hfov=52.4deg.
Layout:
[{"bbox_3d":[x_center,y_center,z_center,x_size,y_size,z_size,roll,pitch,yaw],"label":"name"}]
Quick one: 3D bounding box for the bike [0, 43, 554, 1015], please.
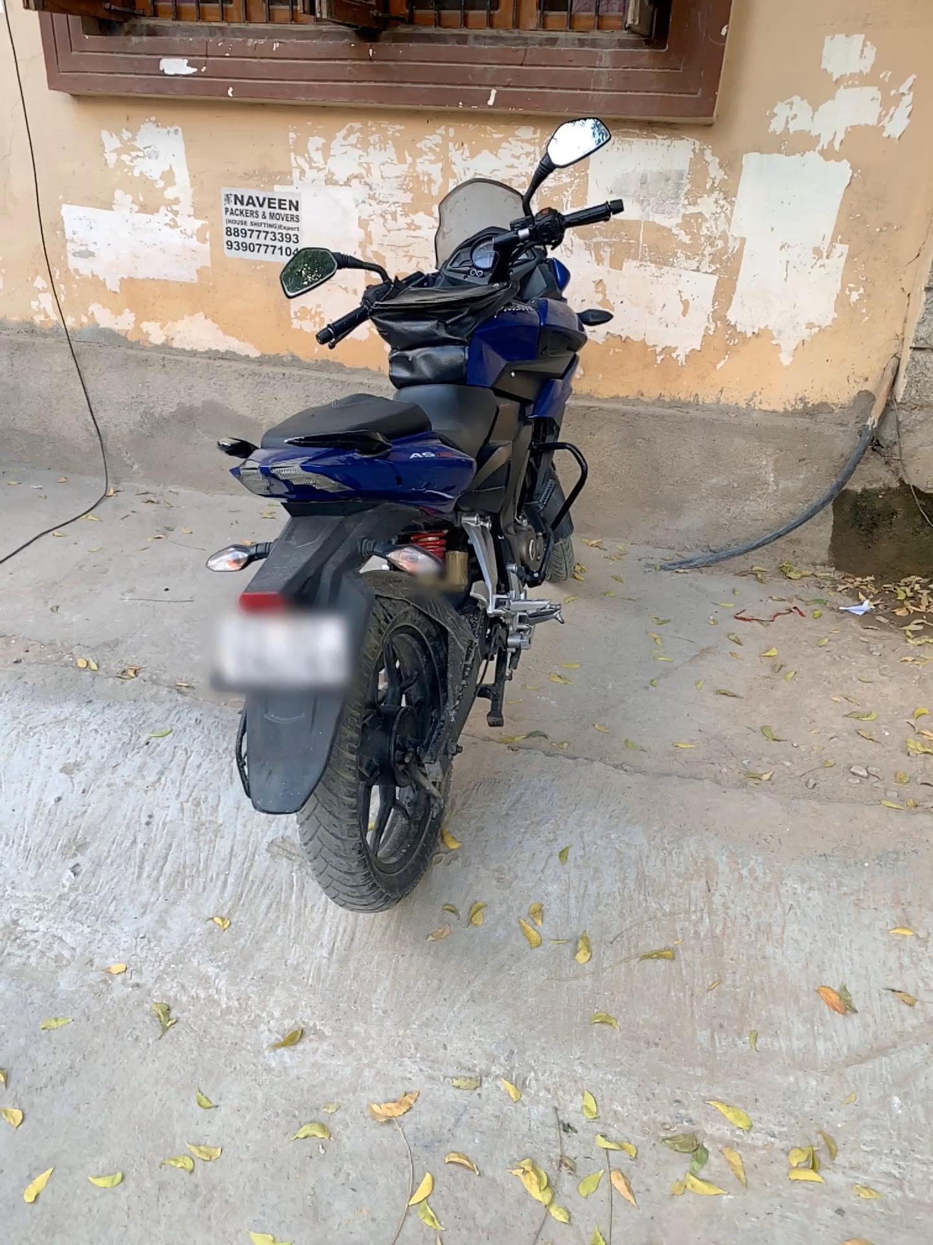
[{"bbox_3d":[-0.336,-0.420,2.091,0.953,1.218,1.574,4,35,5],"label":"bike"}]
